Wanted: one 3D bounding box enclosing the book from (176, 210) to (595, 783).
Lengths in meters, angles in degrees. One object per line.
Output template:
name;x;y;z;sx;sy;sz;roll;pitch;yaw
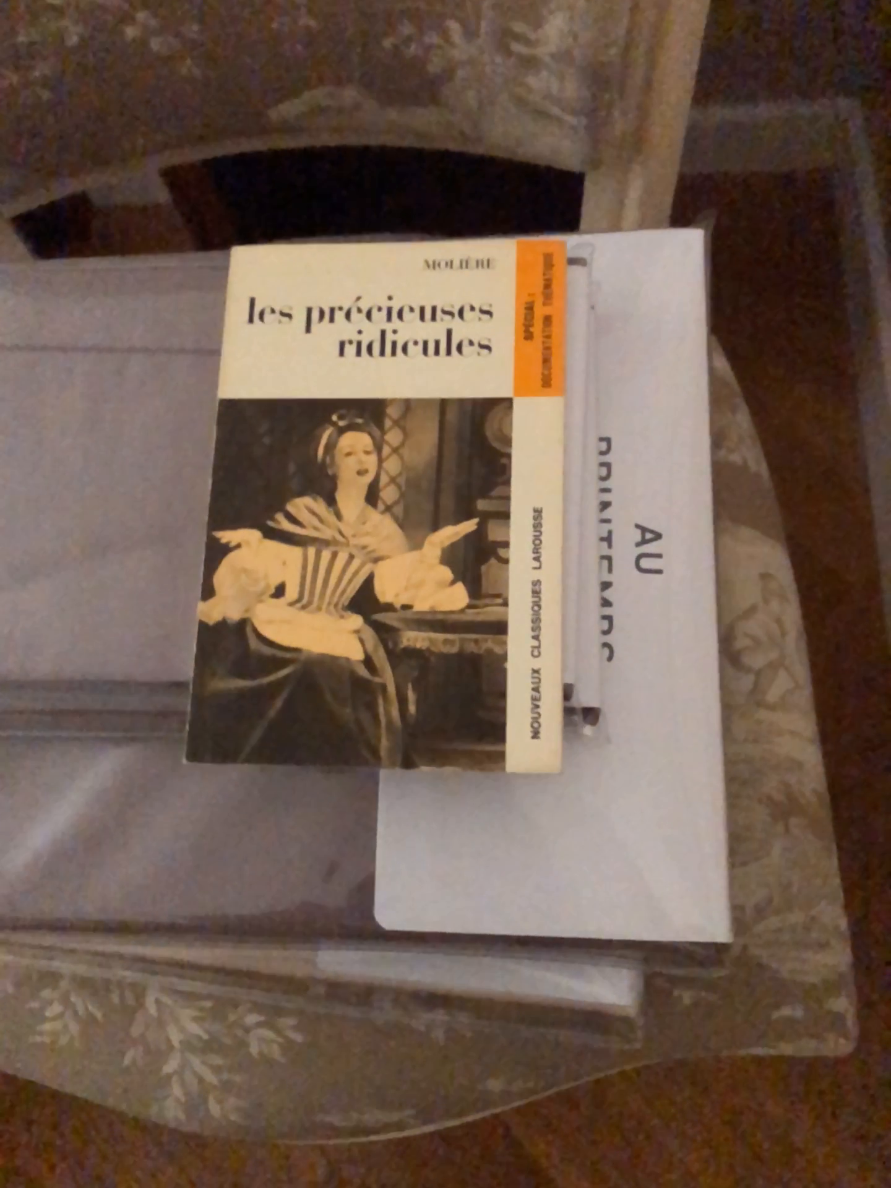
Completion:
book;-0.014;-0.035;0.312;0.120;0.020;0.180;1;75;7
